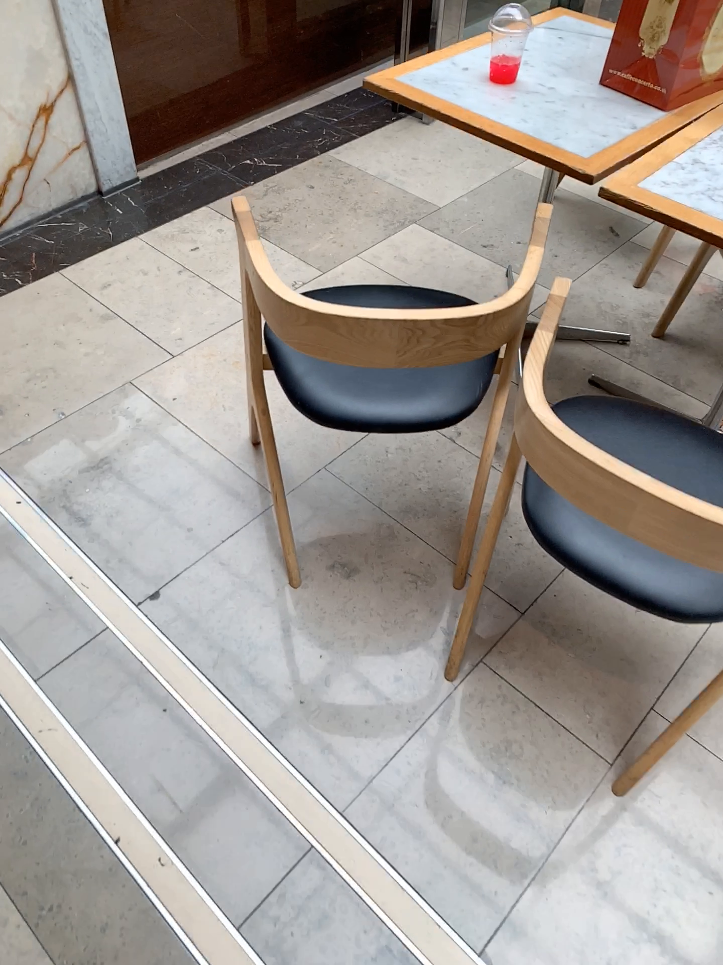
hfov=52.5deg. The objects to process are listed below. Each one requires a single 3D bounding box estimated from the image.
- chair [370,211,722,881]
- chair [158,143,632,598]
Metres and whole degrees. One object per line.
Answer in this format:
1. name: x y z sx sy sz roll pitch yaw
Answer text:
1. chair: 0.437 0.102 1.186 0.635 0.718 0.532 30 54 22
2. chair: 0.035 -0.185 1.424 0.643 0.708 0.504 0 48 -2
